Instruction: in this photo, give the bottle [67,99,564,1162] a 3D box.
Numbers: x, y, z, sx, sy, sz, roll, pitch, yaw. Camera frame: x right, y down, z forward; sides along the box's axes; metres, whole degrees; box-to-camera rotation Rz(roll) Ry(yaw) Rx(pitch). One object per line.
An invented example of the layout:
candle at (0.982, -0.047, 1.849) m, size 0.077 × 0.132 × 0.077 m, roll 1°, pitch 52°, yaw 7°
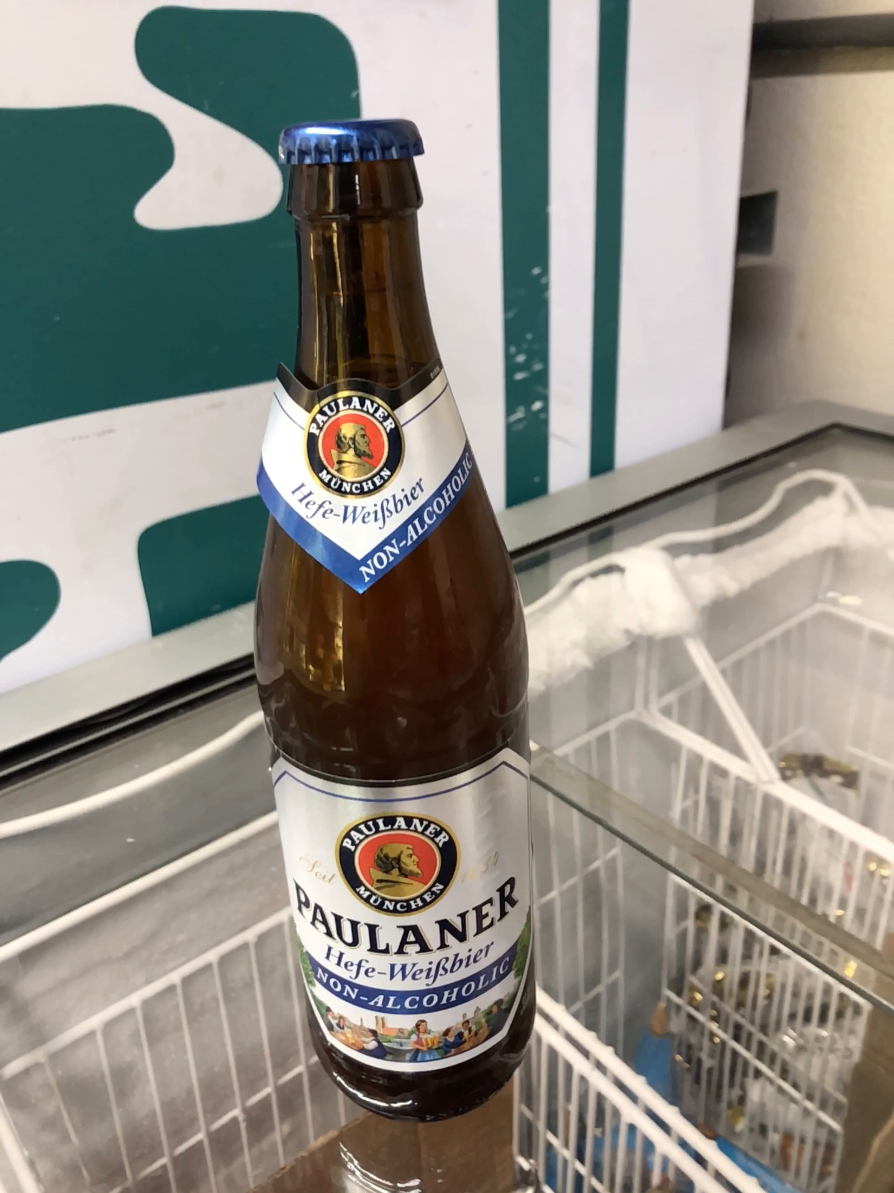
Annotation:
bottle at (-0.013, 0.020, 0.242) m, size 0.080 × 0.248 × 0.070 m, roll 0°, pitch 26°, yaw 6°
